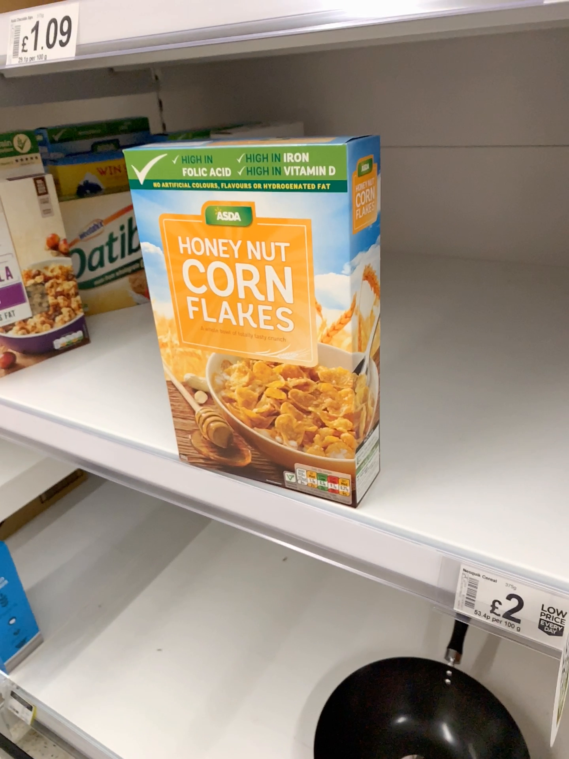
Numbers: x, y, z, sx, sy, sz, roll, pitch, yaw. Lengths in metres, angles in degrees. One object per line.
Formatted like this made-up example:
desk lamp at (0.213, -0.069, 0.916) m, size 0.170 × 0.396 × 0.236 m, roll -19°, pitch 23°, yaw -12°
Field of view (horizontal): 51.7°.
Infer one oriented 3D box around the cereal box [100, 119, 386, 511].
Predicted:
cereal box at (-0.023, -0.052, 0.488) m, size 0.200 × 0.287 × 0.071 m, roll 10°, pitch 30°, yaw 27°
